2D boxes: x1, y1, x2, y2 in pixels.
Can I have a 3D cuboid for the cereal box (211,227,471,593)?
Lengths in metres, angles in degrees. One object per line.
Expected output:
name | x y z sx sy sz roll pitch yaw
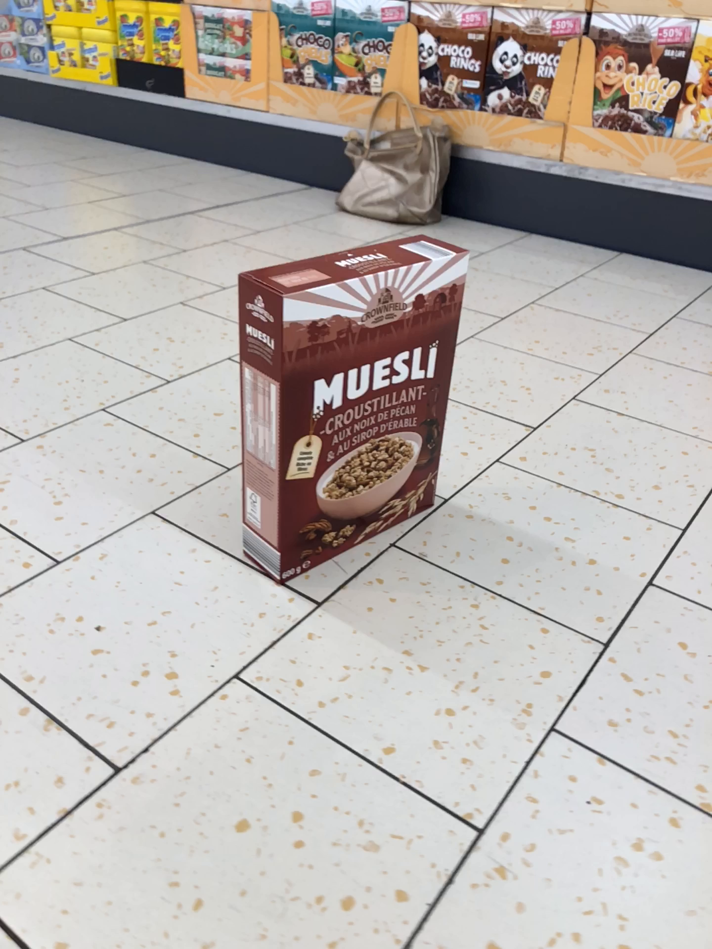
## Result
cereal box | -0.010 -0.056 0.640 0.201 0.248 0.060 -23 39 -36
